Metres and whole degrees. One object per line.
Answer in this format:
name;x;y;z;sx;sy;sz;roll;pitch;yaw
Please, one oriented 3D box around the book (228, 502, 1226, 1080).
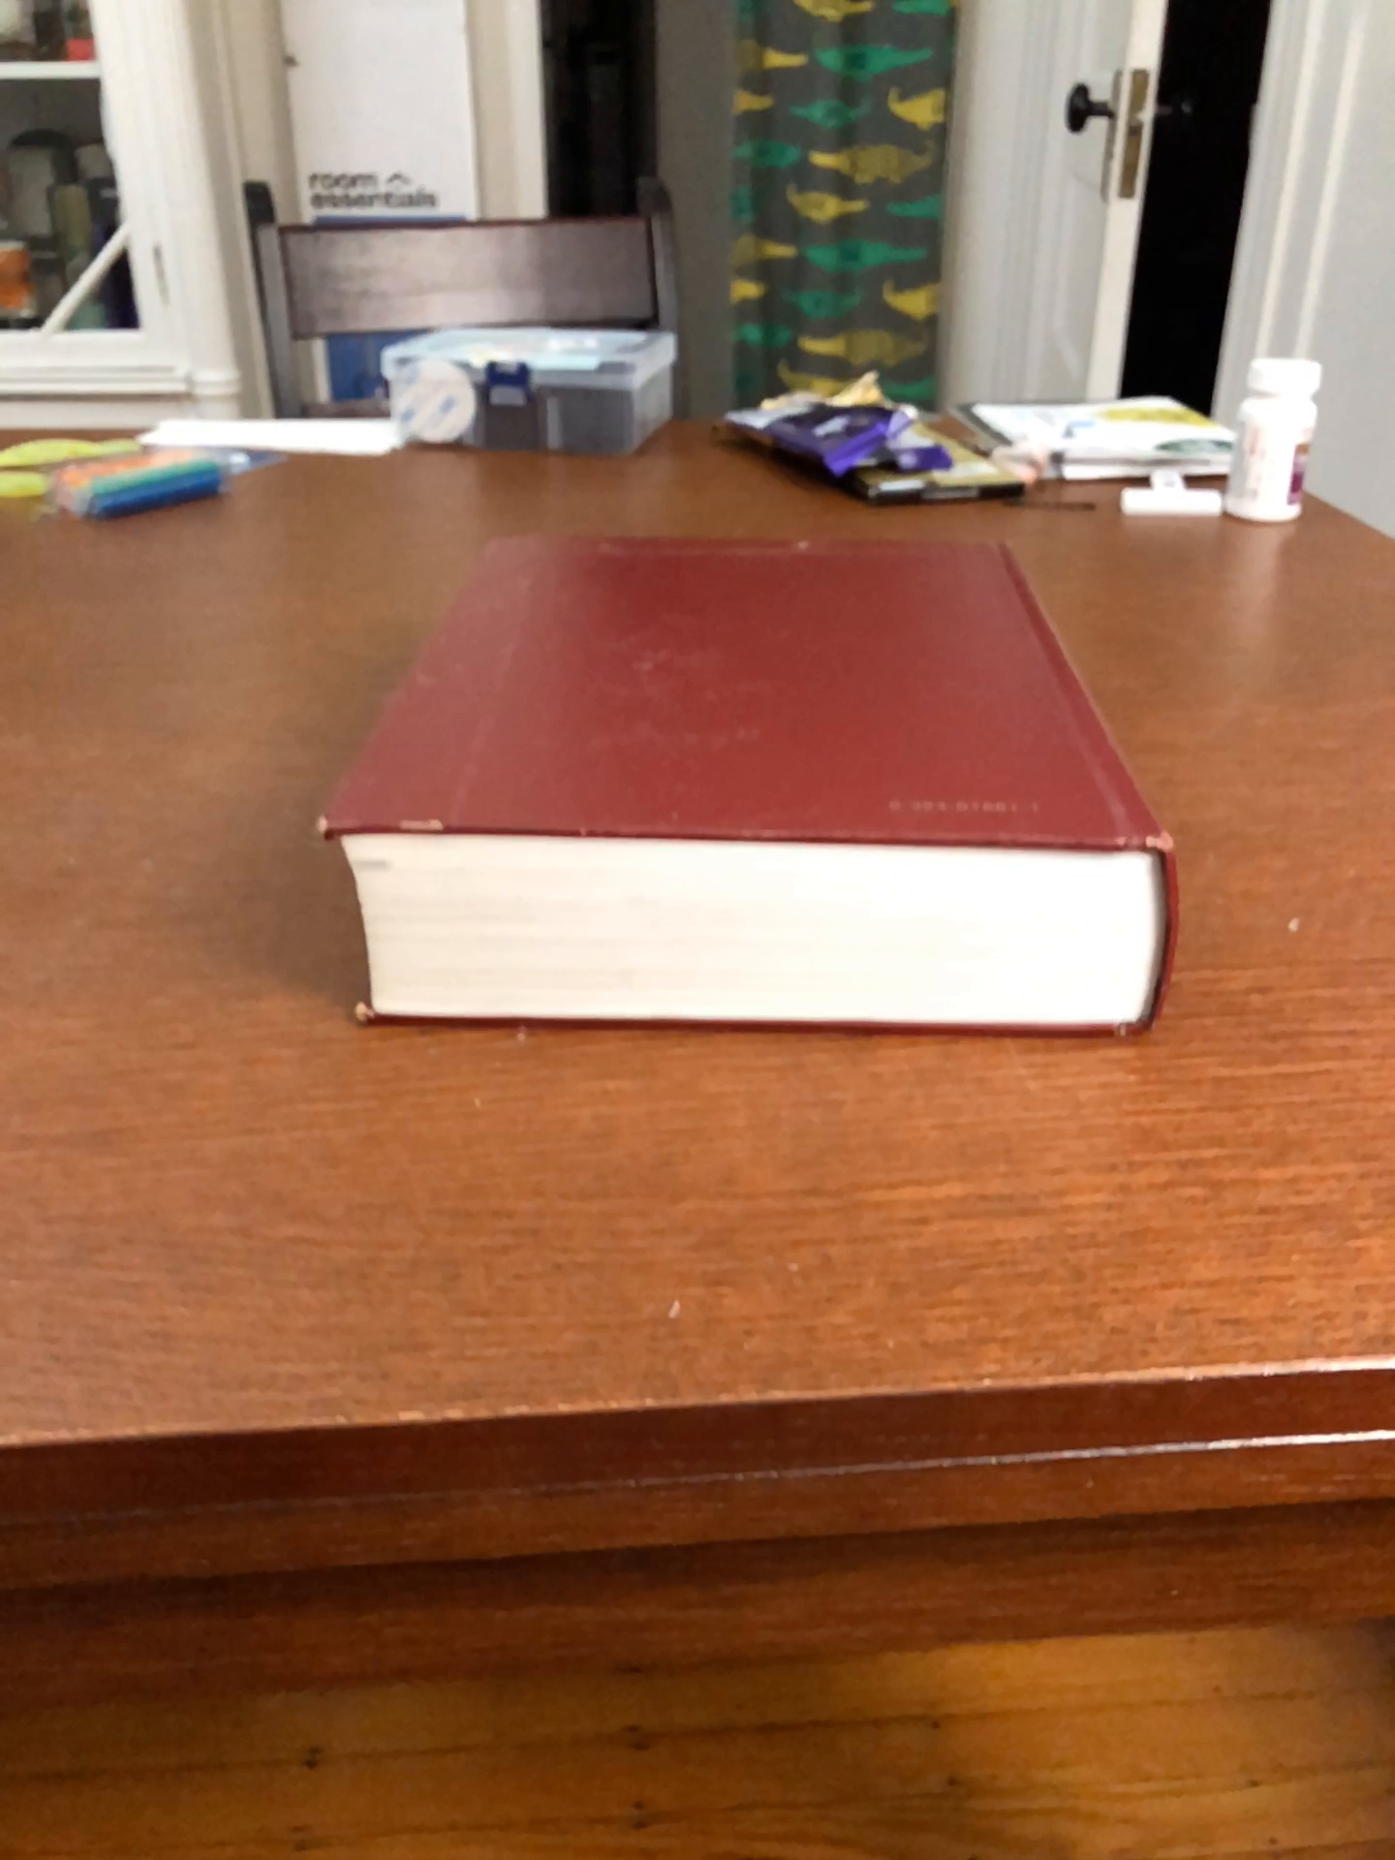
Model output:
book;0.010;-0.065;0.486;0.220;0.070;0.292;1;28;2
